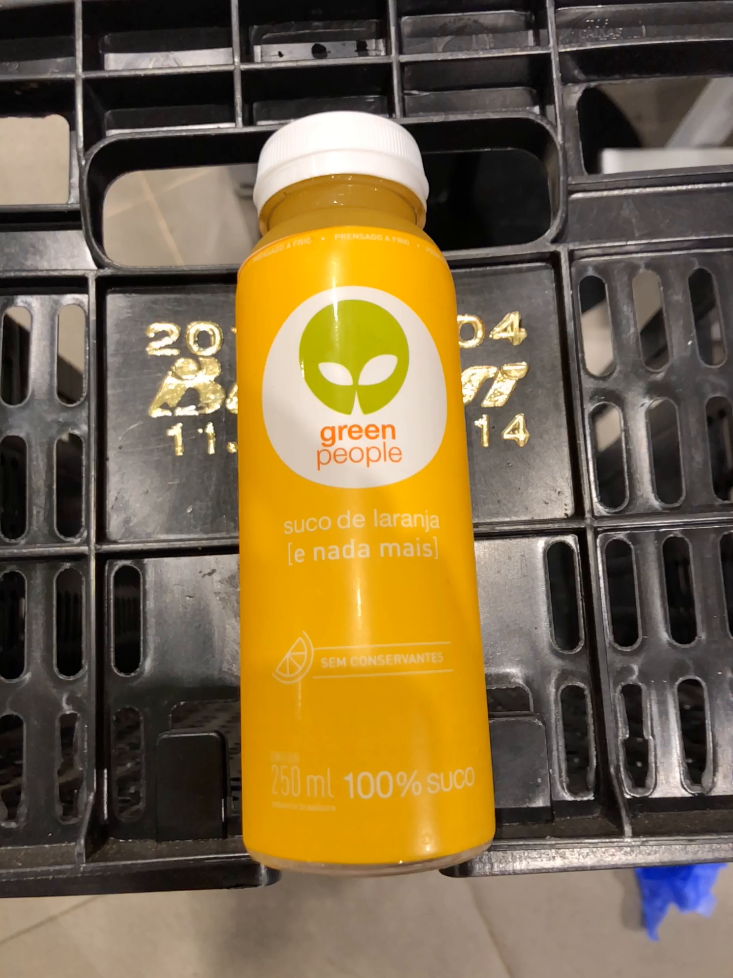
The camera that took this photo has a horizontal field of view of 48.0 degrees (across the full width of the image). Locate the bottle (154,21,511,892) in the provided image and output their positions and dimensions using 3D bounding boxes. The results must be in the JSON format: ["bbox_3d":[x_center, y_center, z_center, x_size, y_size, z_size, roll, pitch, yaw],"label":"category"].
[{"bbox_3d":[-0.010,-0.011,0.194,0.060,0.050,0.180,-5,78,1],"label":"bottle"}]
